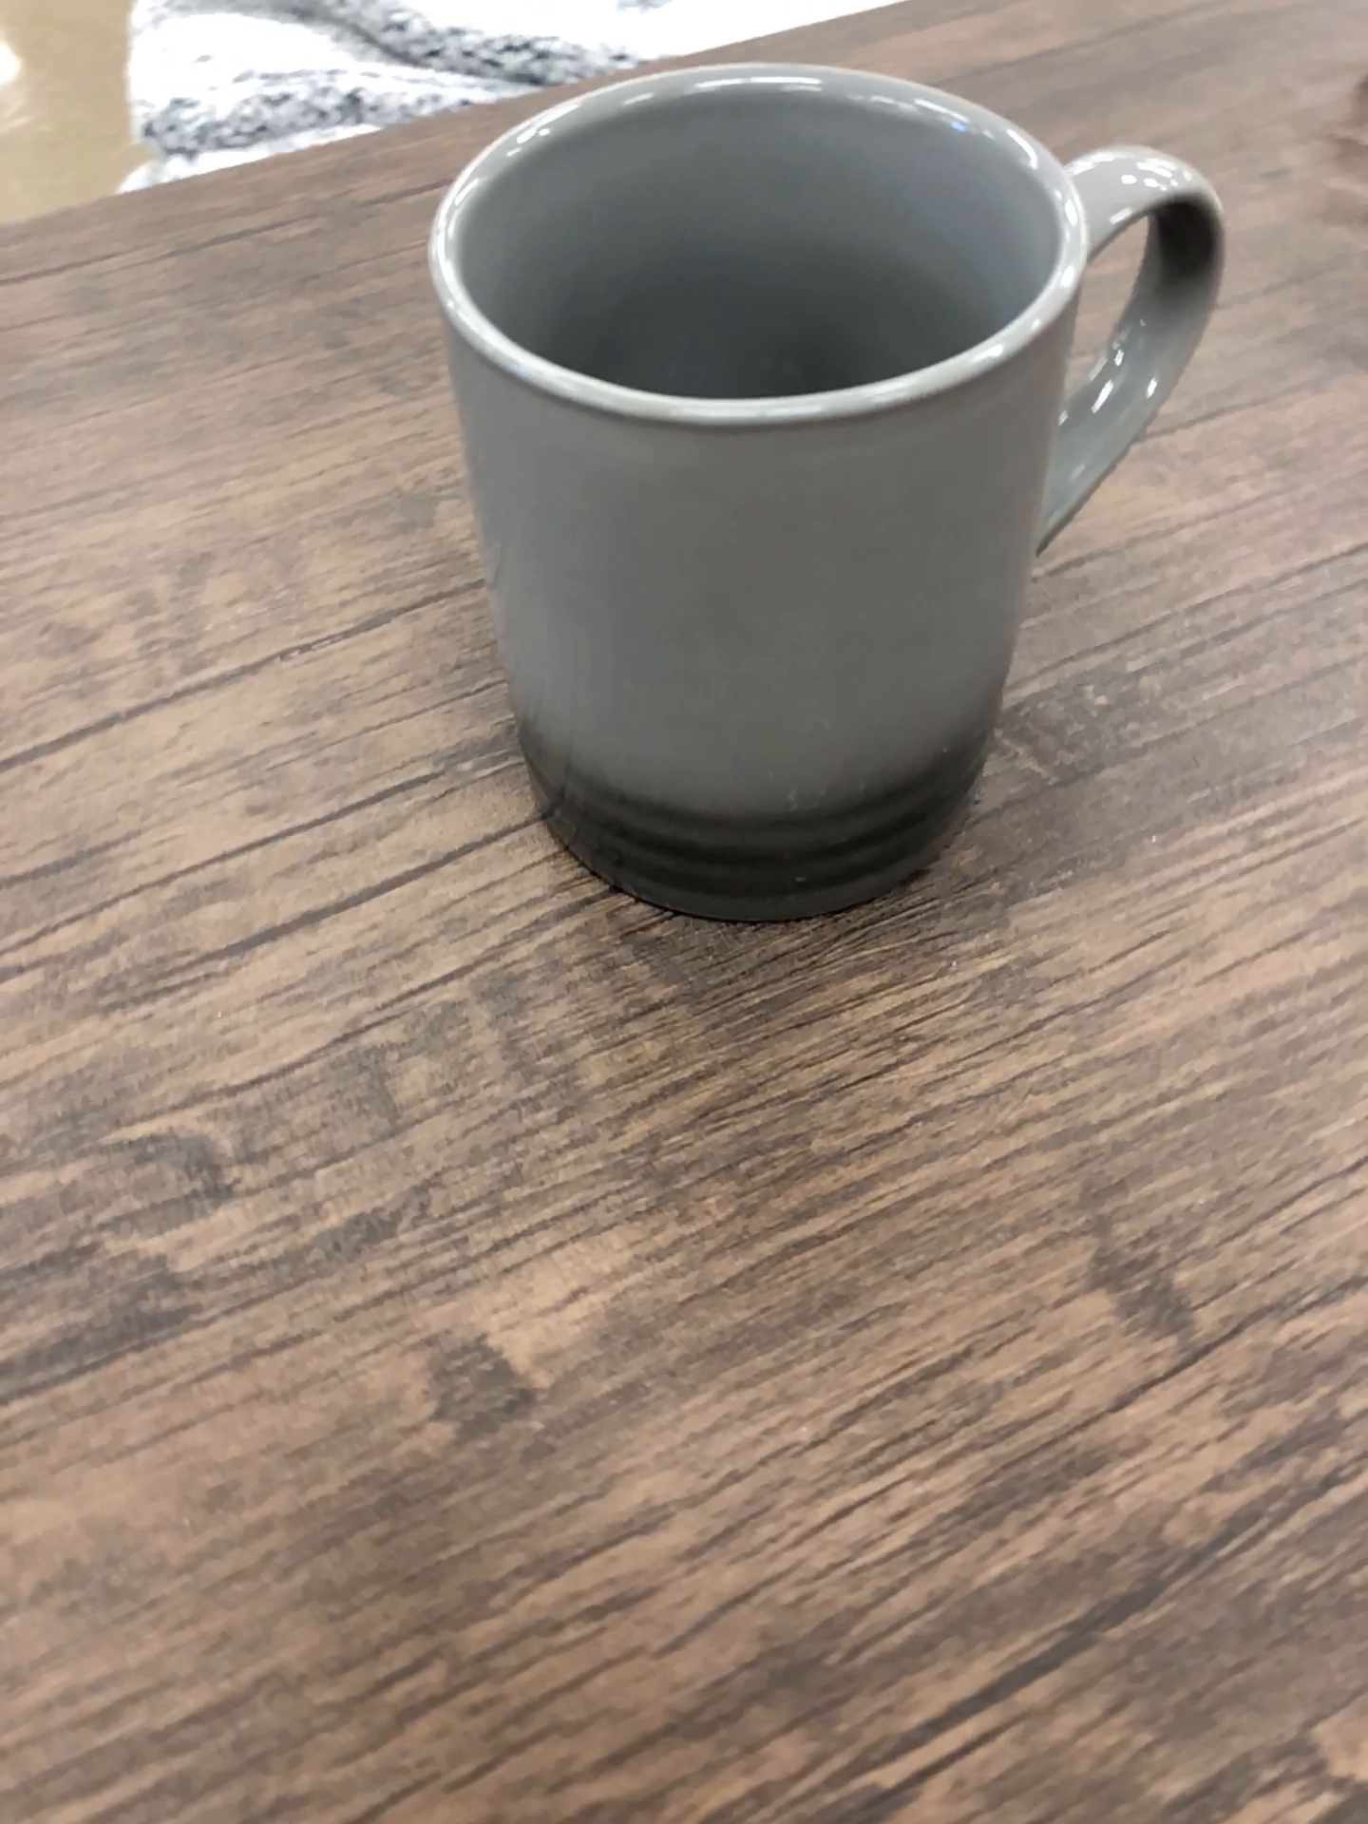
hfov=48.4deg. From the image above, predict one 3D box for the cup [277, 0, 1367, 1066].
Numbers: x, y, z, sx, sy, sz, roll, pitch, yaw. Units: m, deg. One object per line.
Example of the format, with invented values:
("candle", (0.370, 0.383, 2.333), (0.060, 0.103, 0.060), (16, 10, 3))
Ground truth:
("cup", (0.028, -0.069, 0.240), (0.130, 0.110, 0.090), (-31, 57, -21))
